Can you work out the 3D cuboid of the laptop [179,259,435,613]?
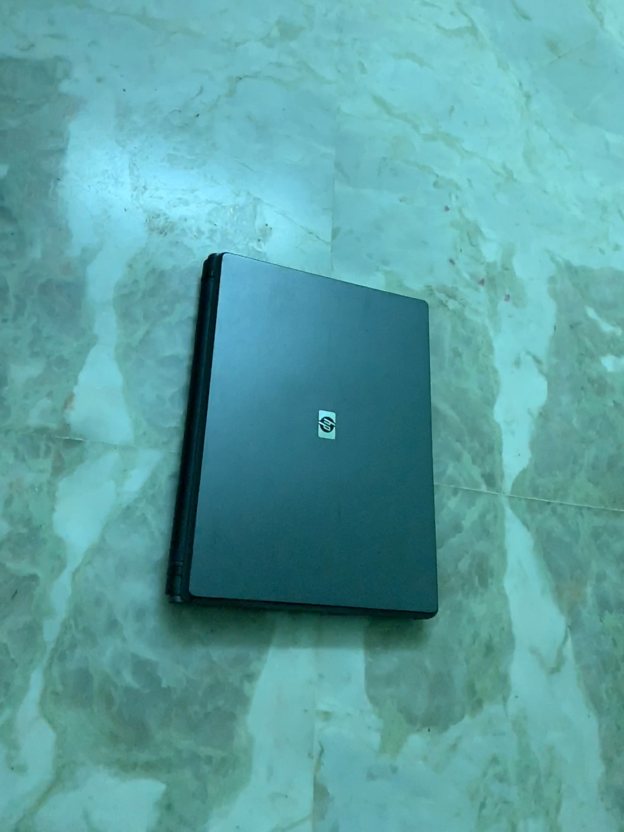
[{"bbox_3d":[0.009,0.012,0.592,0.227,0.001,0.310,9,68,-16],"label":"laptop"}]
